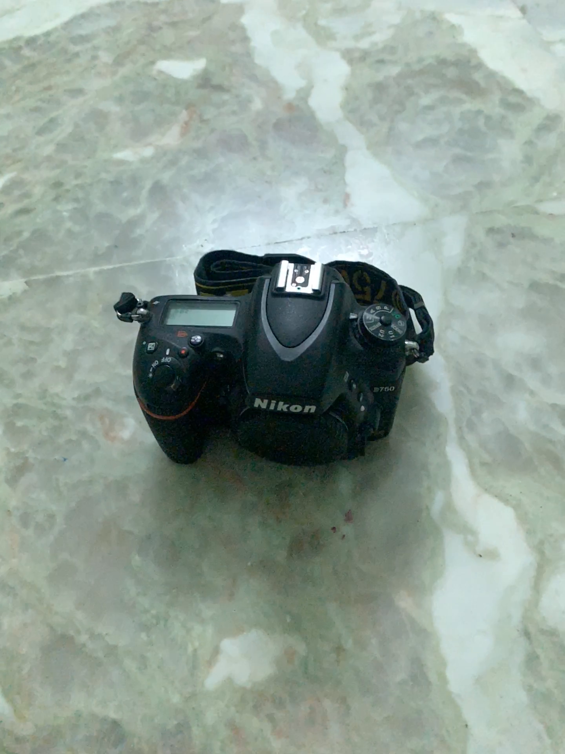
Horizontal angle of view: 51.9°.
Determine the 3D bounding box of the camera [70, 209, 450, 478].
[{"bbox_3d":[-0.004,-0.014,0.290,0.150,0.100,0.080,5,58,6],"label":"camera"}]
